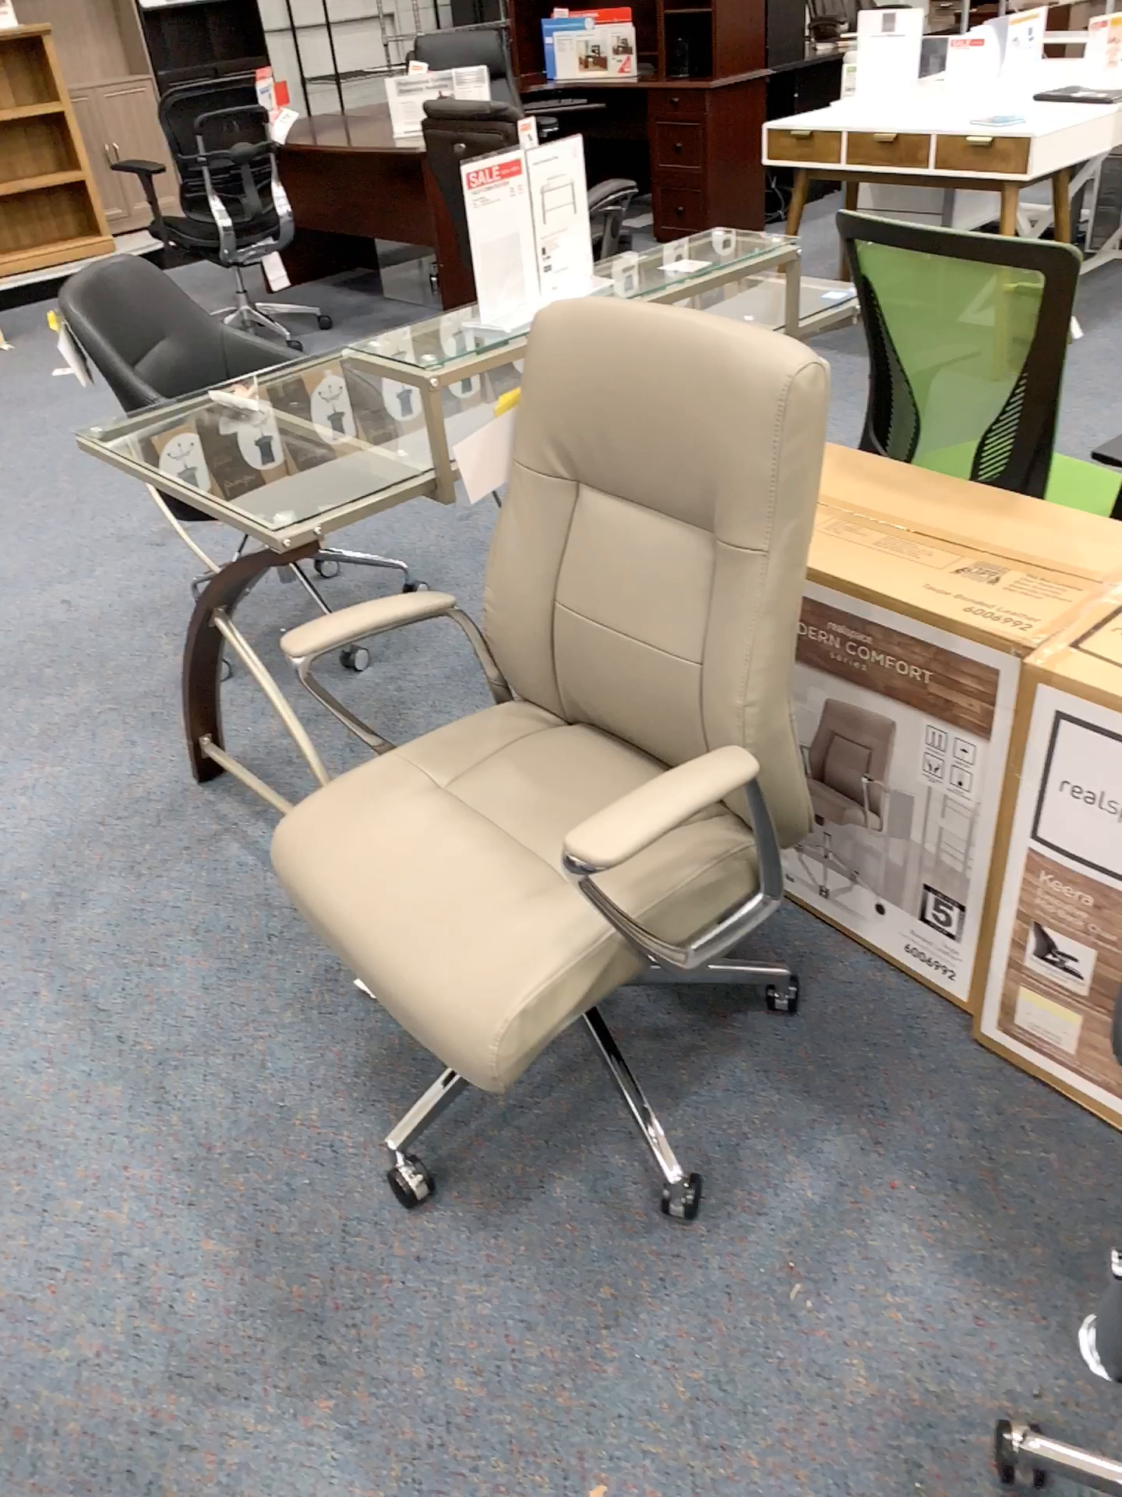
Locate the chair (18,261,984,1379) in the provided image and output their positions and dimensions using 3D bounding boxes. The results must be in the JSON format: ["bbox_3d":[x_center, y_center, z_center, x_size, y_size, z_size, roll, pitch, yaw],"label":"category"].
[{"bbox_3d":[-0.046,0.027,1.388,0.675,0.956,0.694,-28,40,-28],"label":"chair"}]

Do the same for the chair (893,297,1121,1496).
[{"bbox_3d":[0.712,0.375,0.732,0.812,1.055,0.818,7,37,19],"label":"chair"}]

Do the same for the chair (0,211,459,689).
[{"bbox_3d":[-0.762,-0.714,2.724,0.754,0.856,0.765,1,35,11],"label":"chair"}]
